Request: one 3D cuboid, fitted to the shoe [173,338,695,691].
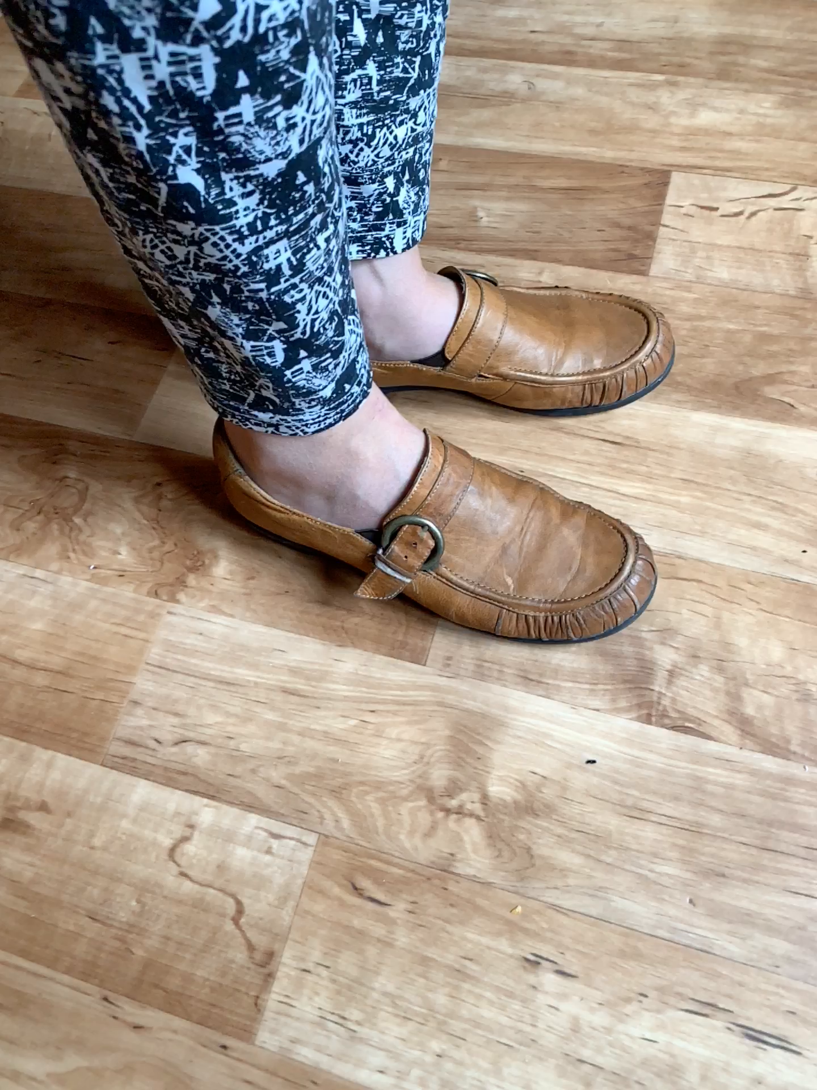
[{"bbox_3d":[0.011,-0.015,0.361,0.190,0.070,0.080,17,67,14],"label":"shoe"}]

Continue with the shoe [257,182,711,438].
[{"bbox_3d":[0.033,-0.109,0.401,0.190,0.070,0.080,-2,64,6],"label":"shoe"}]
